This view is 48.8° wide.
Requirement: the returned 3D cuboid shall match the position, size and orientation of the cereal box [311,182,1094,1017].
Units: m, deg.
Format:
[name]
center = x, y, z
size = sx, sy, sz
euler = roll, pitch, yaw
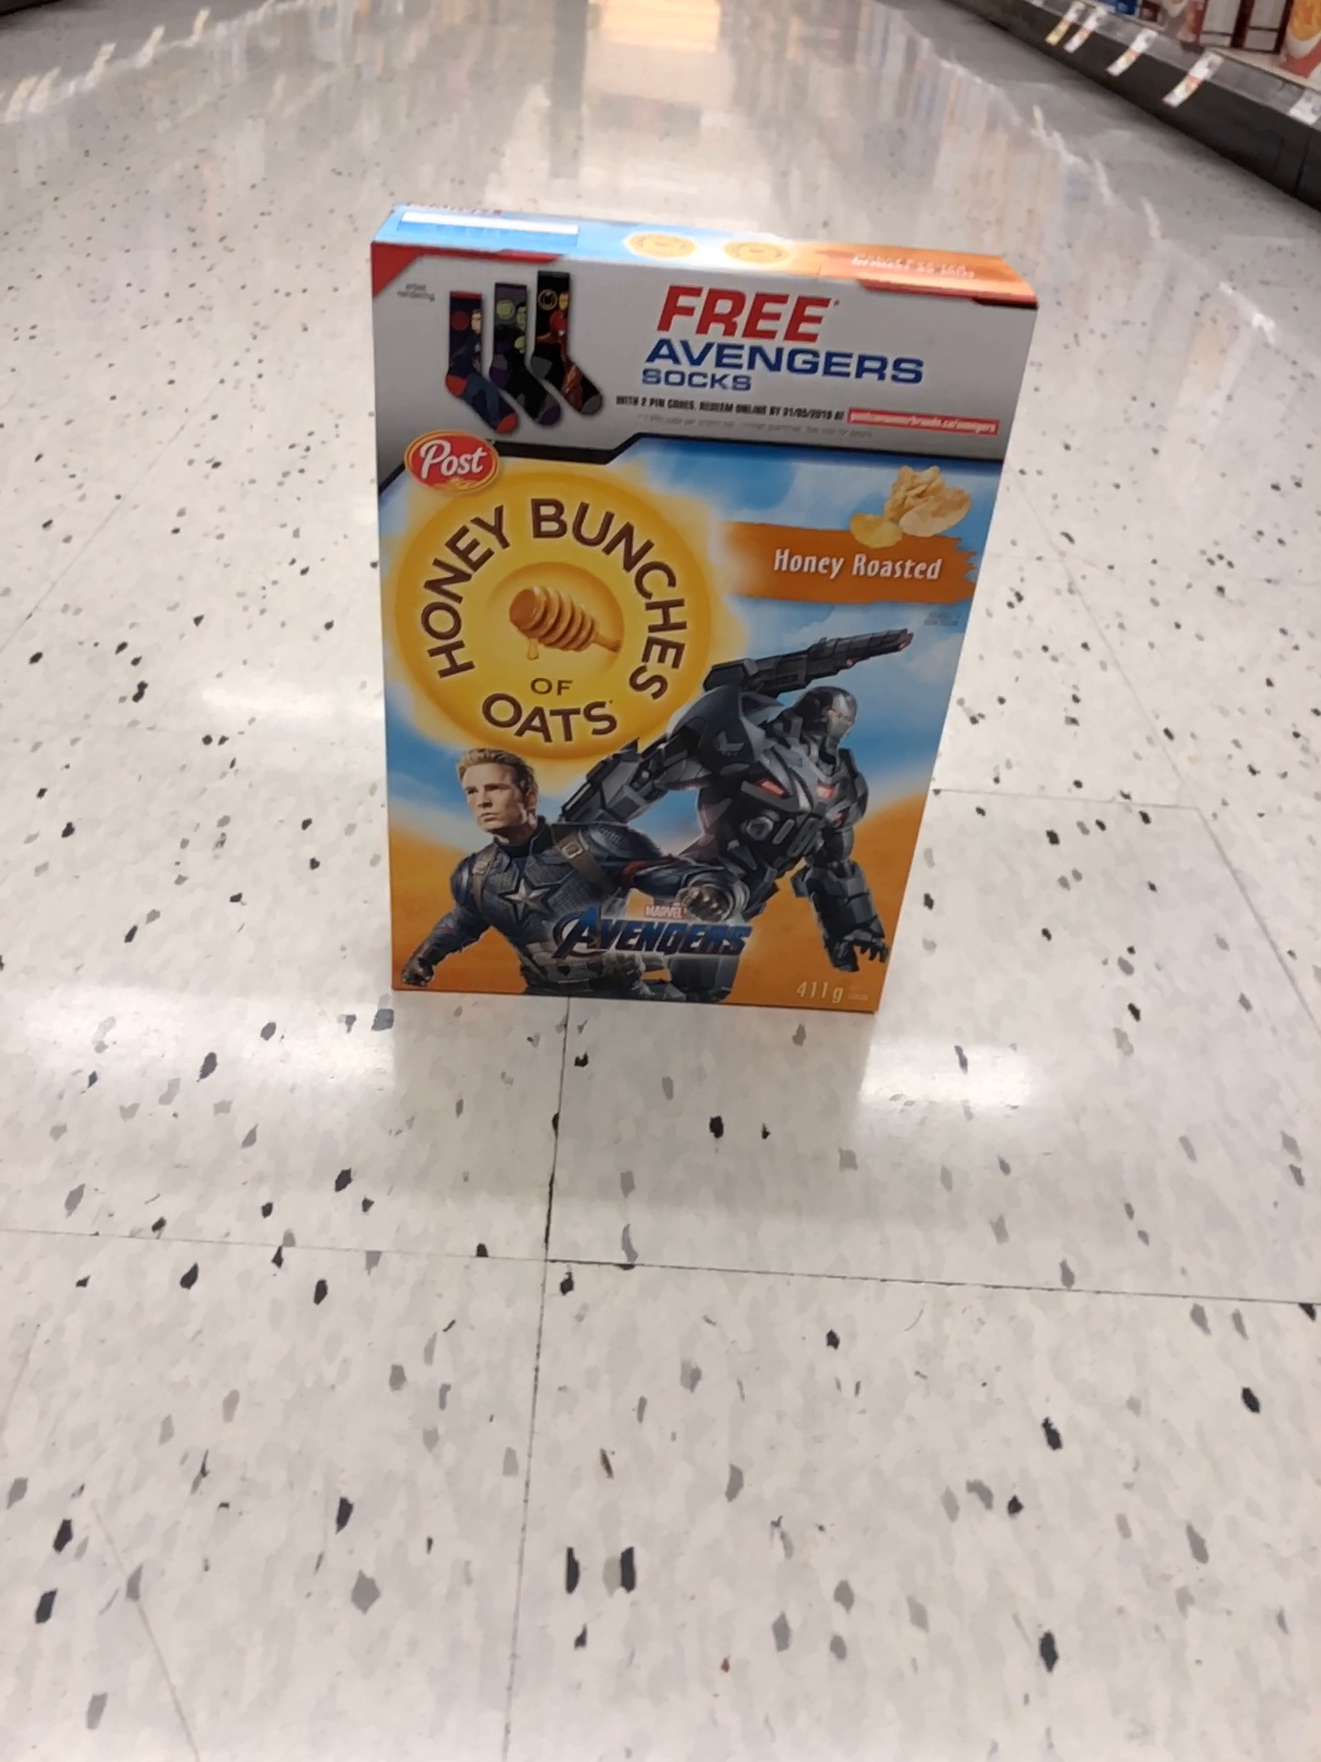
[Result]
[cereal box]
center = 0.001, -0.077, 0.486
size = 0.210, 0.258, 0.060
euler = 3, 35, -5
